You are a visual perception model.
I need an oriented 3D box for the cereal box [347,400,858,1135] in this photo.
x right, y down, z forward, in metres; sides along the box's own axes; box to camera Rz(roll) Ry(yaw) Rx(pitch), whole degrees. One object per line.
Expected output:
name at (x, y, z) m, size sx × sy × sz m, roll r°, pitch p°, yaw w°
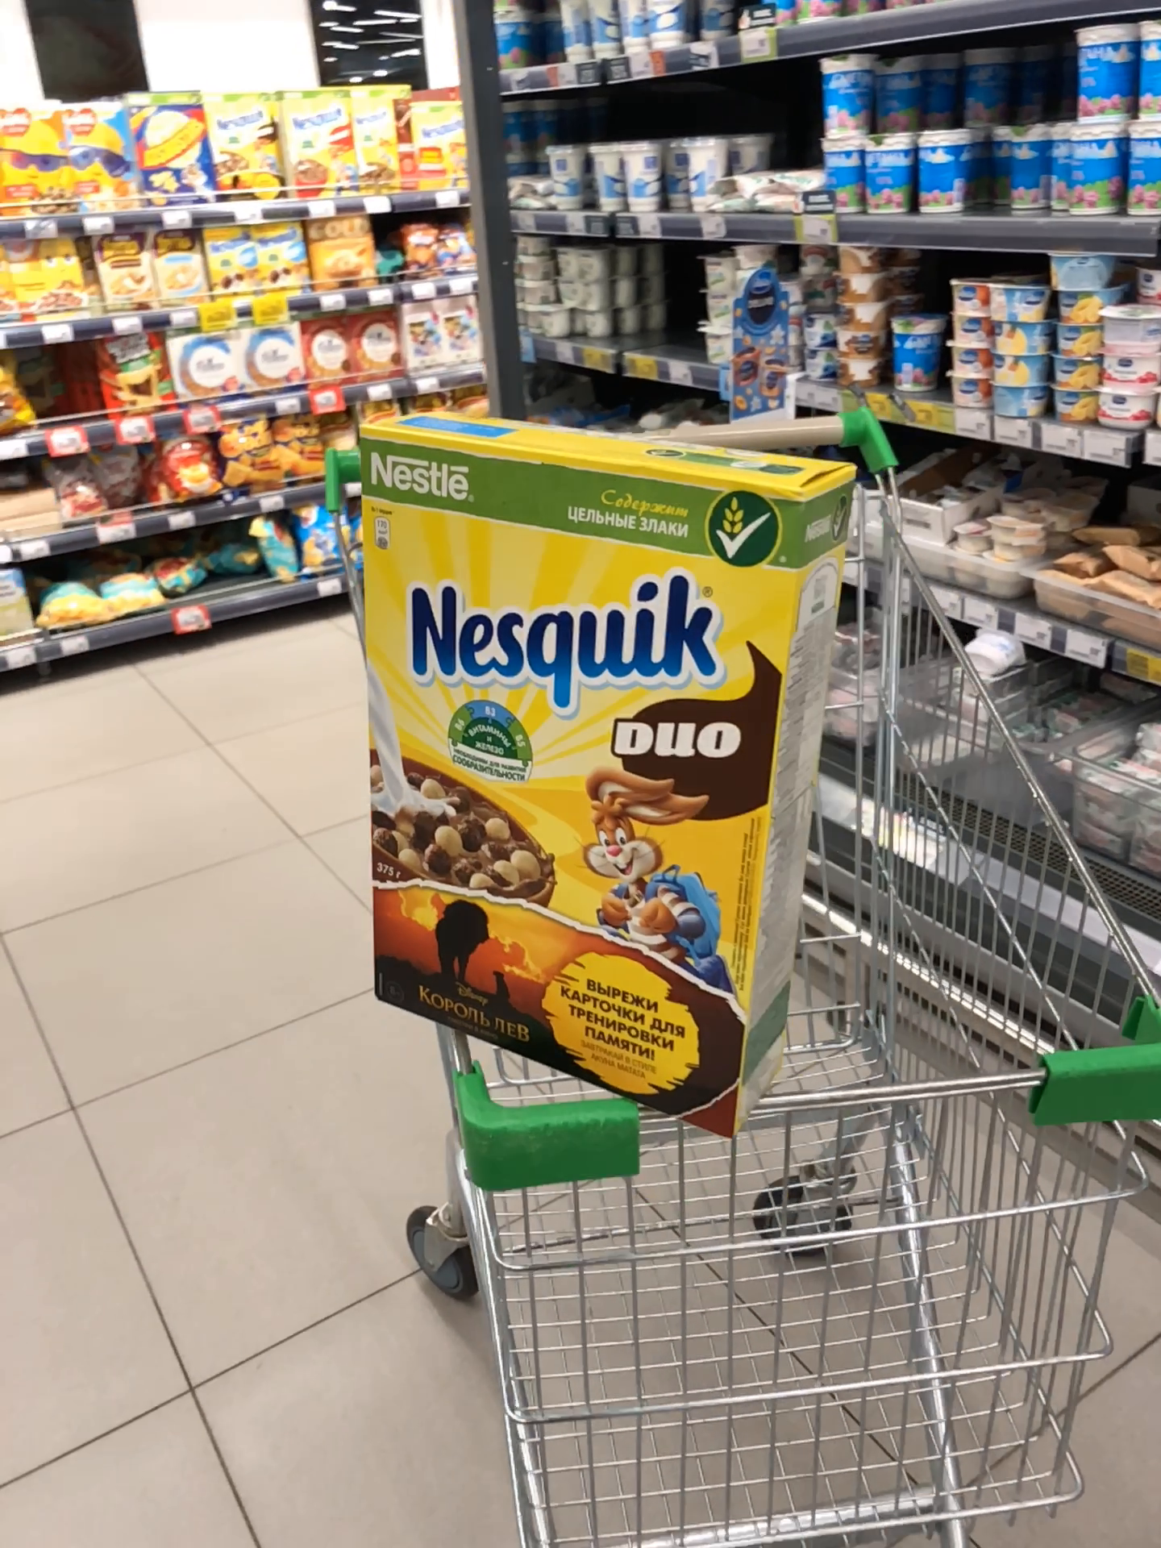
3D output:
cereal box at (-0.001, -0.008, 0.560) m, size 0.200 × 0.279 × 0.060 m, roll 15°, pitch 26°, yaw 27°
